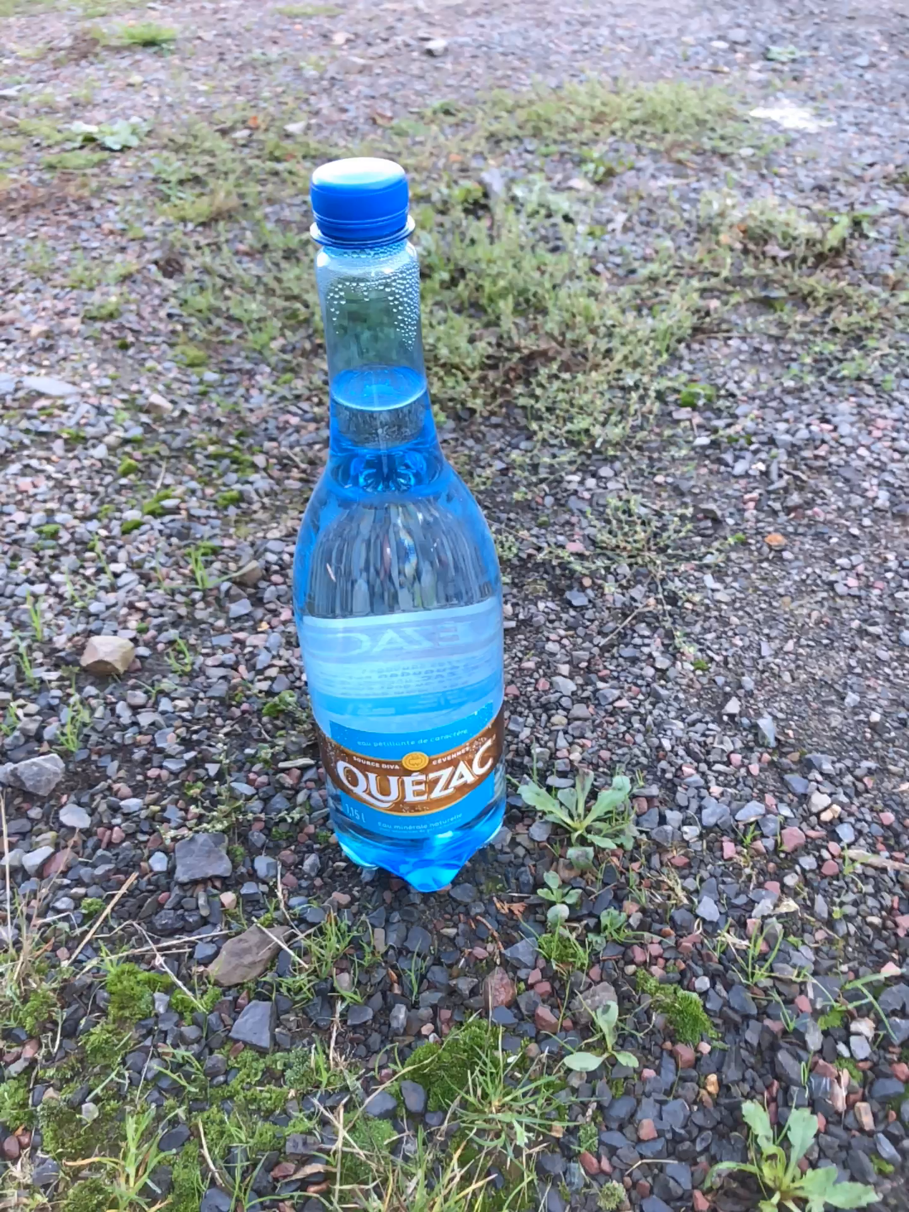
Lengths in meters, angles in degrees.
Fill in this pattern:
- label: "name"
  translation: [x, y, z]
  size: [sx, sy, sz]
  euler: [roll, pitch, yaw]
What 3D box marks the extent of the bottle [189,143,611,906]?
- label: "bottle"
  translation: [-0.013, -0.010, 0.402]
  size: [0.110, 0.298, 0.111]
  euler: [-1, 42, 1]
